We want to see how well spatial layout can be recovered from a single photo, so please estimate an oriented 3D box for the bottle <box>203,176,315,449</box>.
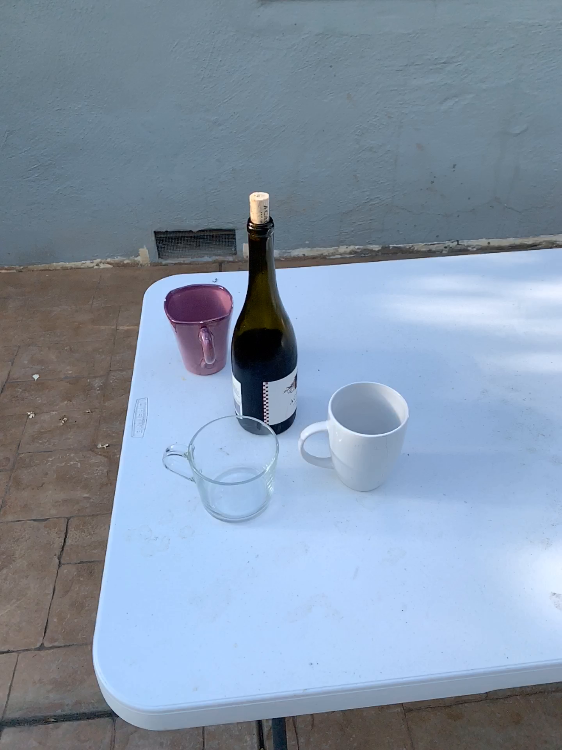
[{"bbox_3d":[-0.020,-0.063,0.701,0.087,0.318,0.087,0,39,0],"label":"bottle"}]
